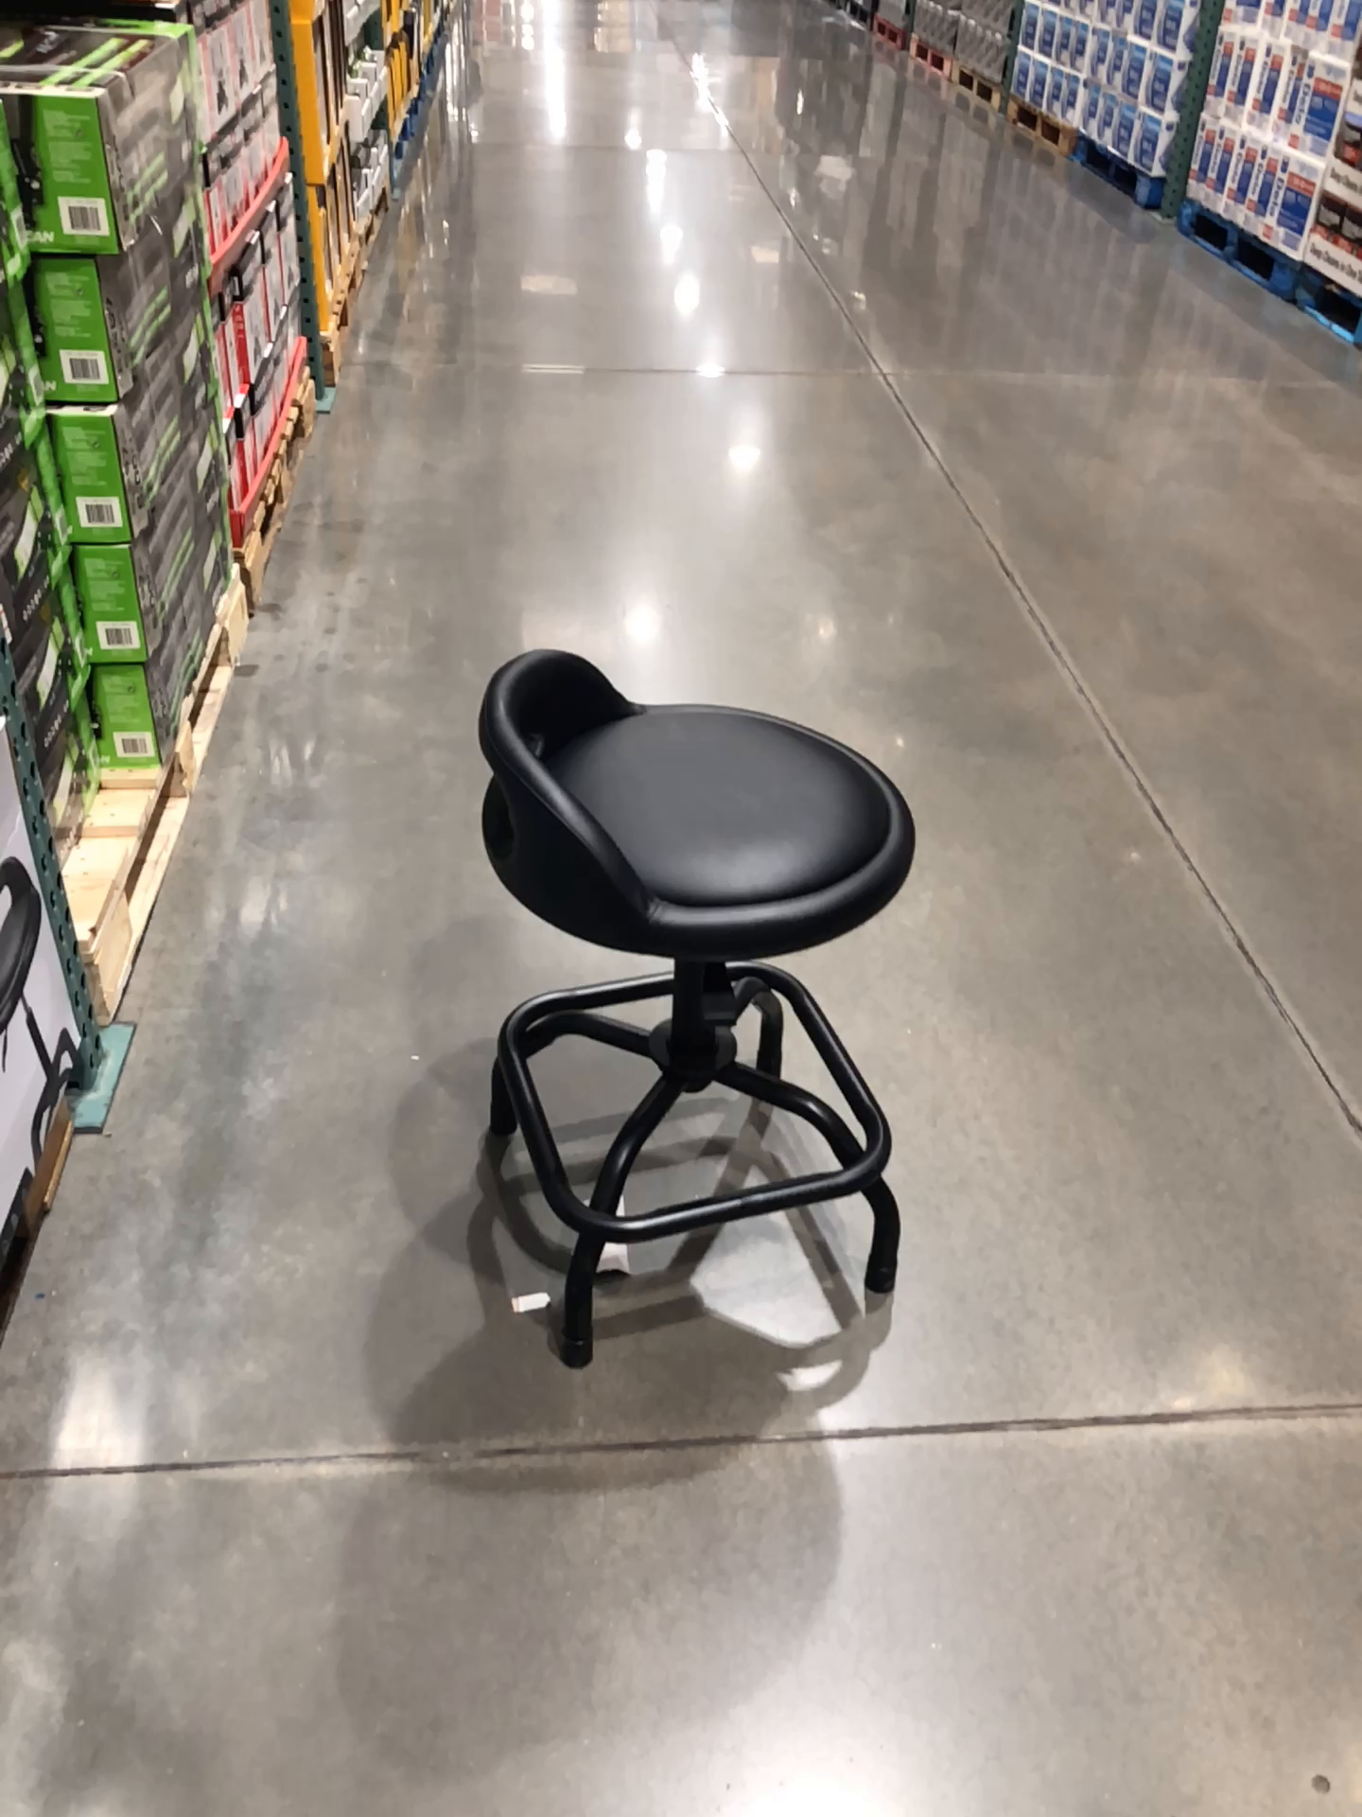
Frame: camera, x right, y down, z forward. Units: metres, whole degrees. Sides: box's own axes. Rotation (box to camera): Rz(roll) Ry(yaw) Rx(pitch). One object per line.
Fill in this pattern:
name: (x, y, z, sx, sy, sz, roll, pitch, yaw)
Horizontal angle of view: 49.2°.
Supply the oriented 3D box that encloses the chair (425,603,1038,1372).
chair: (0.015, 0.077, 1.601, 0.501, 0.627, 0.522, 0, 36, -4)
